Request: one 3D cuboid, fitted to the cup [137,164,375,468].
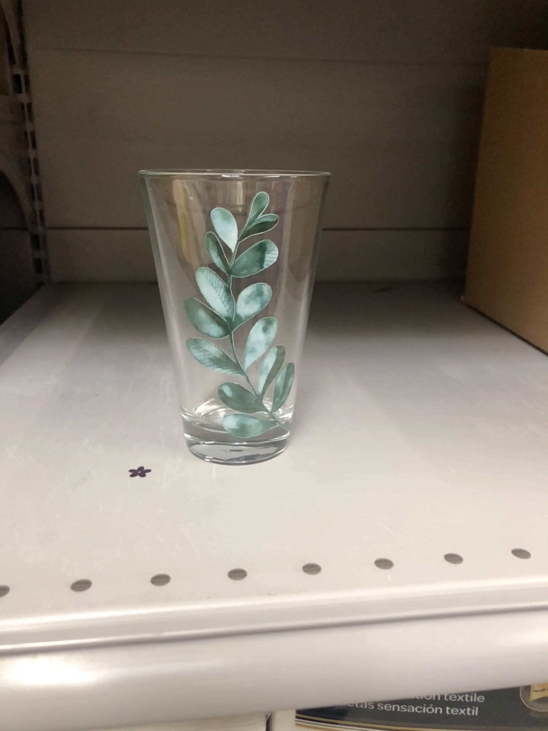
[{"bbox_3d":[-0.010,-0.027,0.267,0.083,0.114,0.084,1,17,0],"label":"cup"}]
